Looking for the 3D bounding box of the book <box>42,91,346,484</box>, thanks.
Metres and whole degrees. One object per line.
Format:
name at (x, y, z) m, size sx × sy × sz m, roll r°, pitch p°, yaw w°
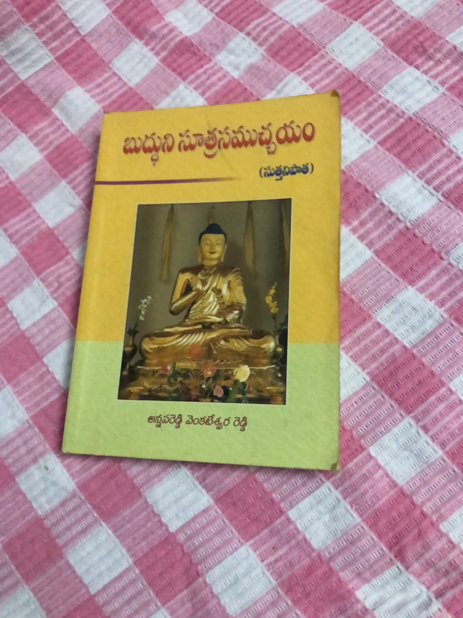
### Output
book at (-0.014, -0.018, 0.290) m, size 0.150 × 0.030 × 0.210 m, roll 0°, pitch 74°, yaw 11°
